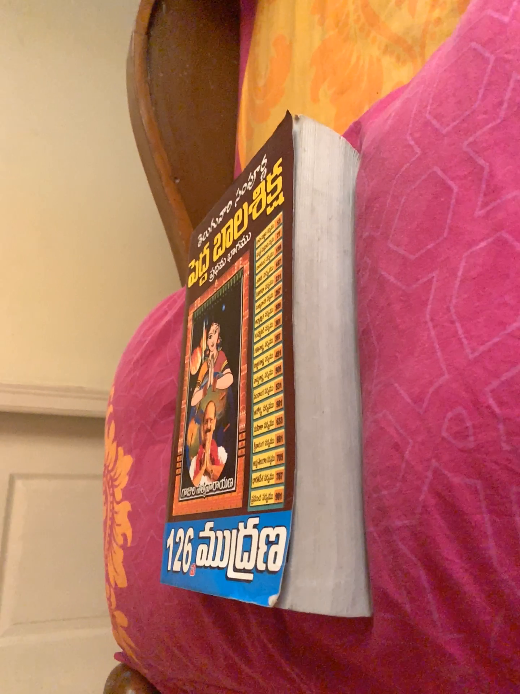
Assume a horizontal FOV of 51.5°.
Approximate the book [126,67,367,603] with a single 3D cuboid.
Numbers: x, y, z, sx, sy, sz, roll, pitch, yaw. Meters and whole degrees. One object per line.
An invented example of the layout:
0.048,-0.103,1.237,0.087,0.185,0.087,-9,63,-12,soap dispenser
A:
-0.015,0.002,0.328,0.181,0.050,0.260,-32,50,56,book
